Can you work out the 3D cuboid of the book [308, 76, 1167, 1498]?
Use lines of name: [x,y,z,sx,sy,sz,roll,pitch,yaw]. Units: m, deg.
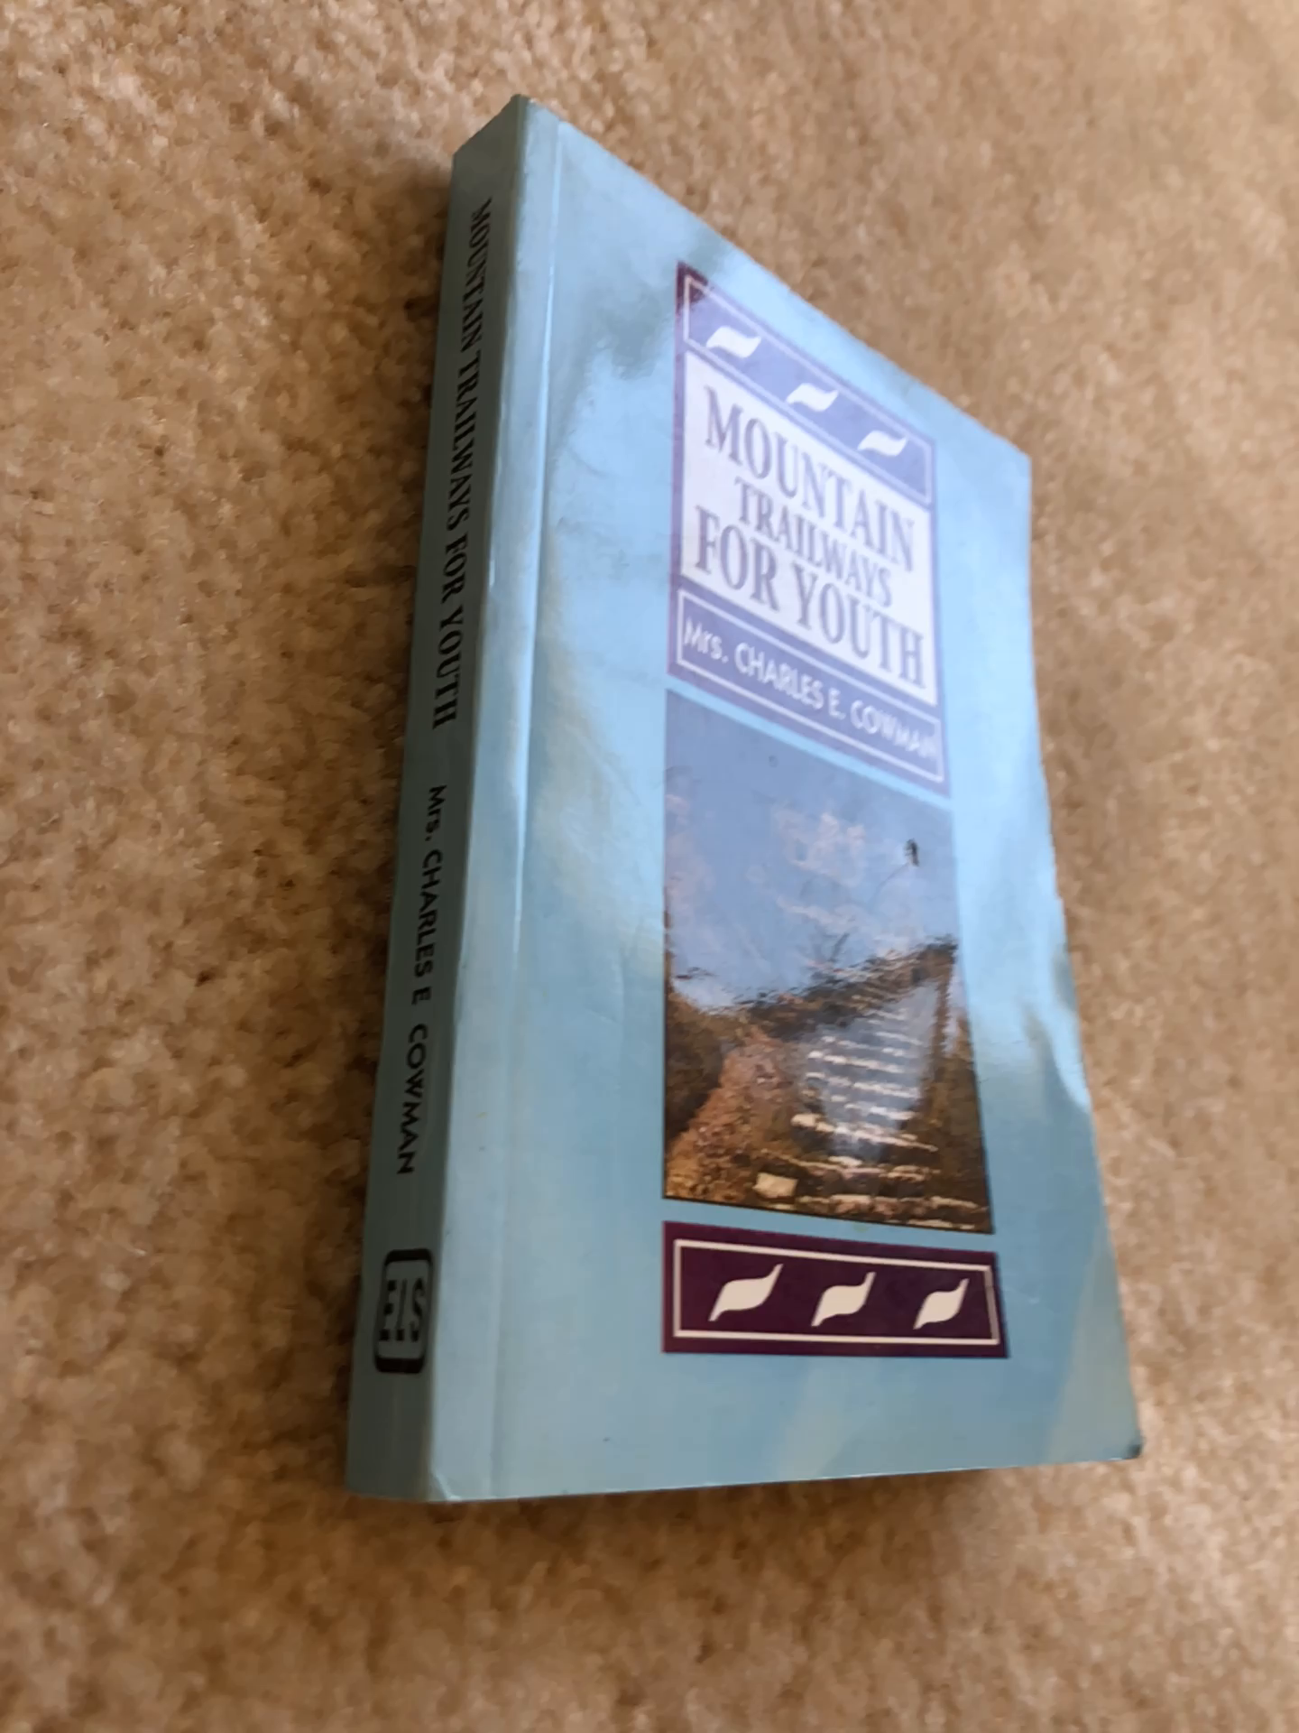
book: [0.022,-0.005,0.210,0.122,0.030,0.170,17,66,-38]
